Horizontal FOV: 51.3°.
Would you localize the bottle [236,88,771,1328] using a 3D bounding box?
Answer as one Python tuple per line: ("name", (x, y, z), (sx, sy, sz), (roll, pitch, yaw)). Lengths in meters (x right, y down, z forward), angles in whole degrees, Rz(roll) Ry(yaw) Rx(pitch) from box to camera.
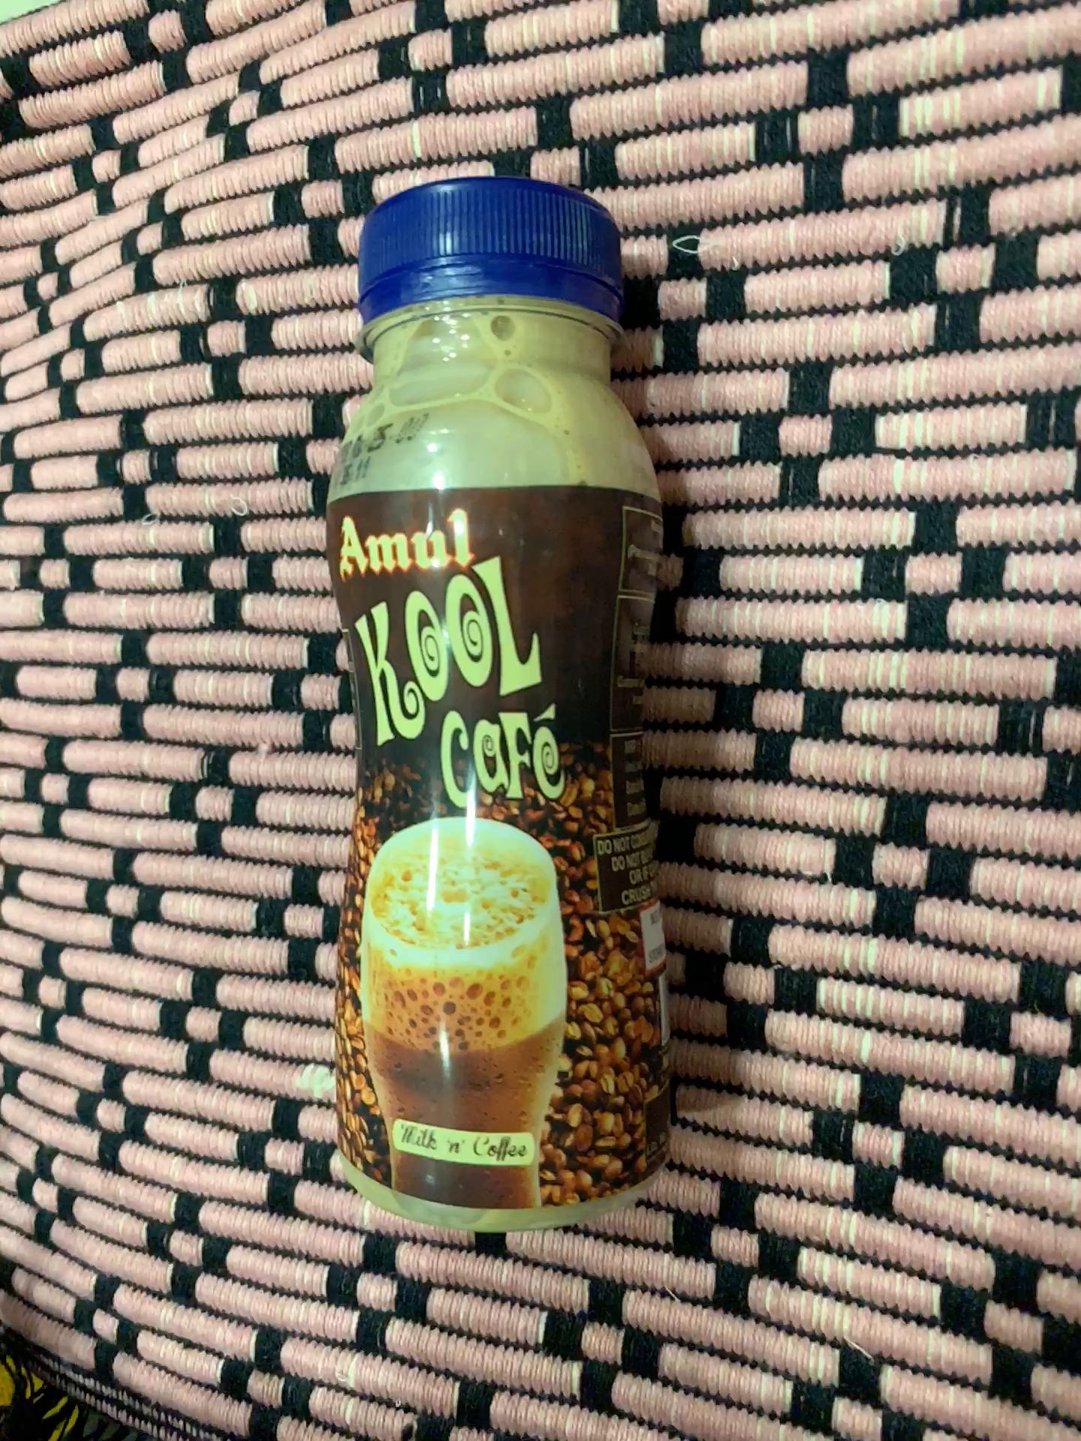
("bottle", (-0.001, -0.002, 0.161), (0.060, 0.050, 0.140), (0, 87, 21))
